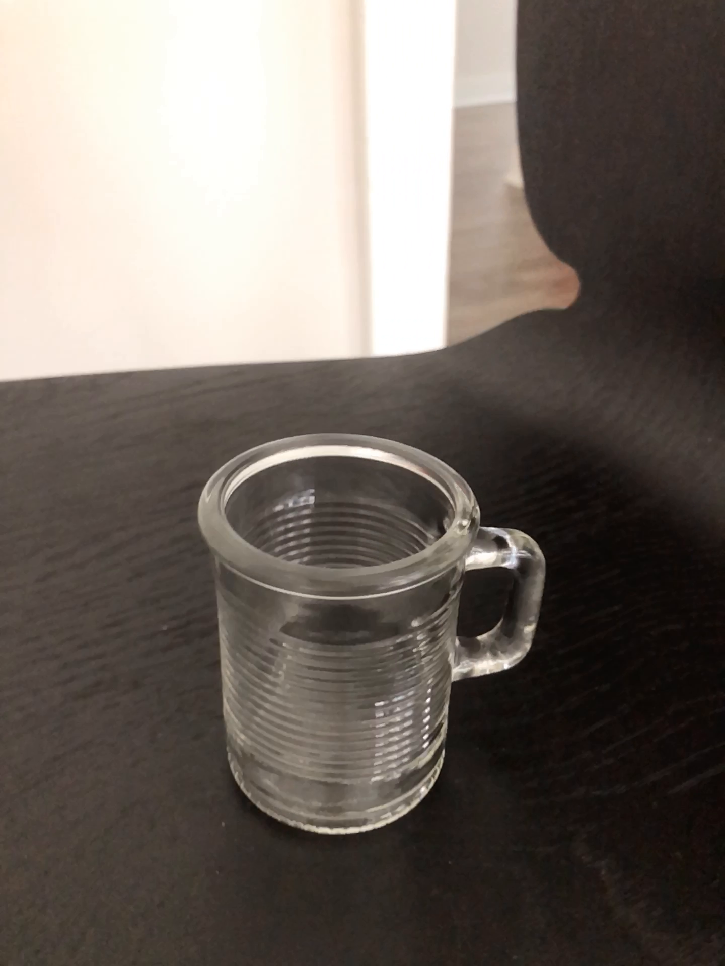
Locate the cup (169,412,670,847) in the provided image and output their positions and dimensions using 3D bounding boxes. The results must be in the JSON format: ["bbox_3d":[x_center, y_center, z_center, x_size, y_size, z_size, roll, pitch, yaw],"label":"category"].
[{"bbox_3d":[0.008,0.033,0.193,0.090,0.080,0.060,-1,35,-3],"label":"cup"}]
